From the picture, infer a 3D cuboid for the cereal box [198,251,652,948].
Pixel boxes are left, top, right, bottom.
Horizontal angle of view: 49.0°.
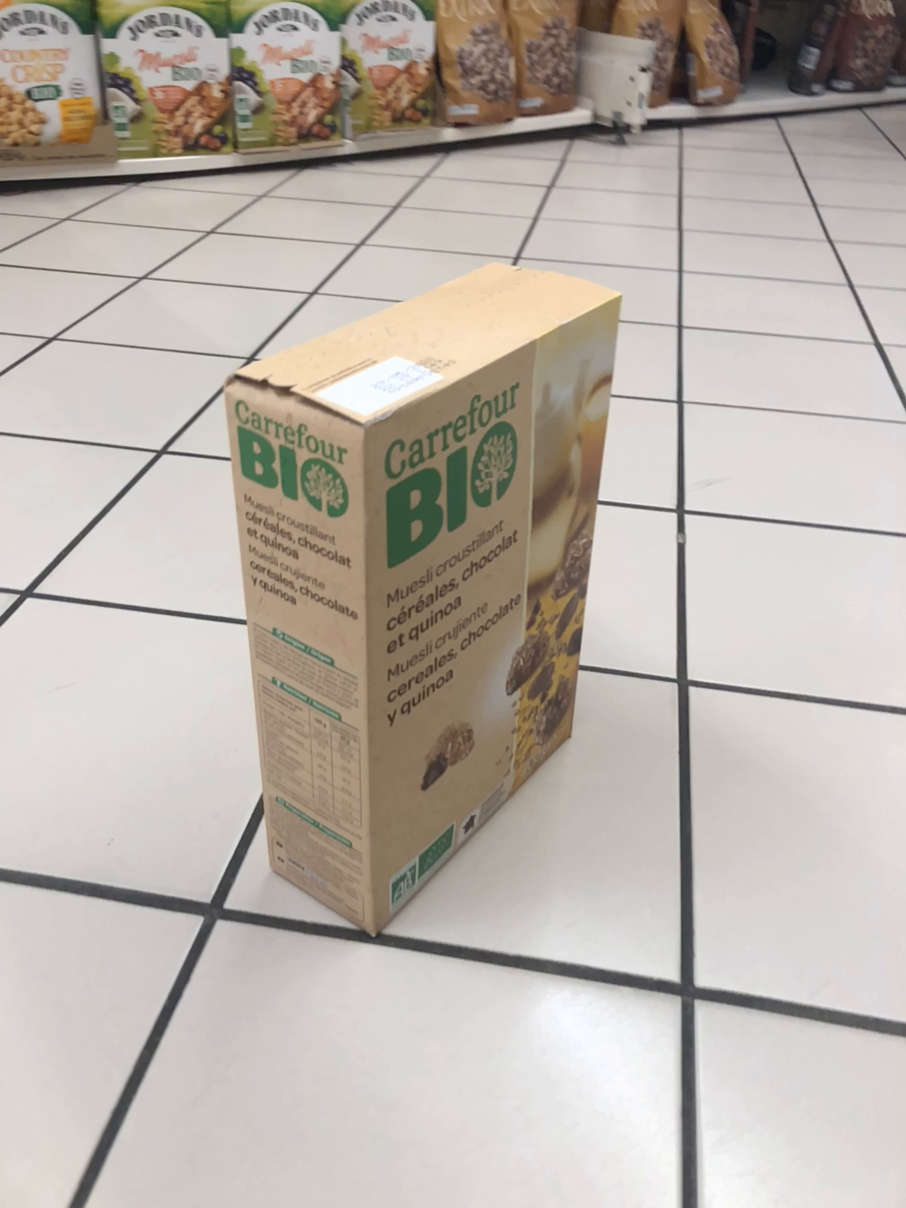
[{"bbox_3d":[-0.003,-0.006,0.413,0.070,0.229,0.171,23,40,29],"label":"cereal box"}]
